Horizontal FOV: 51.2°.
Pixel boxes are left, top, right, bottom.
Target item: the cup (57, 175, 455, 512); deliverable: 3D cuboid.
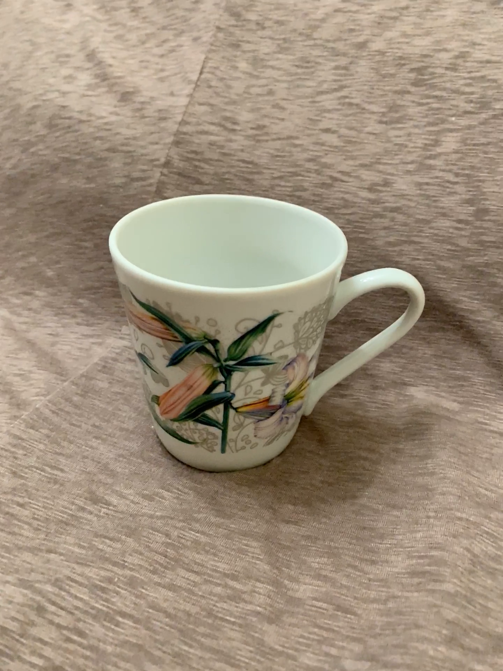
[{"bbox_3d":[0.008,-0.004,0.210,0.119,0.088,0.085,7,33,13],"label":"cup"}]
